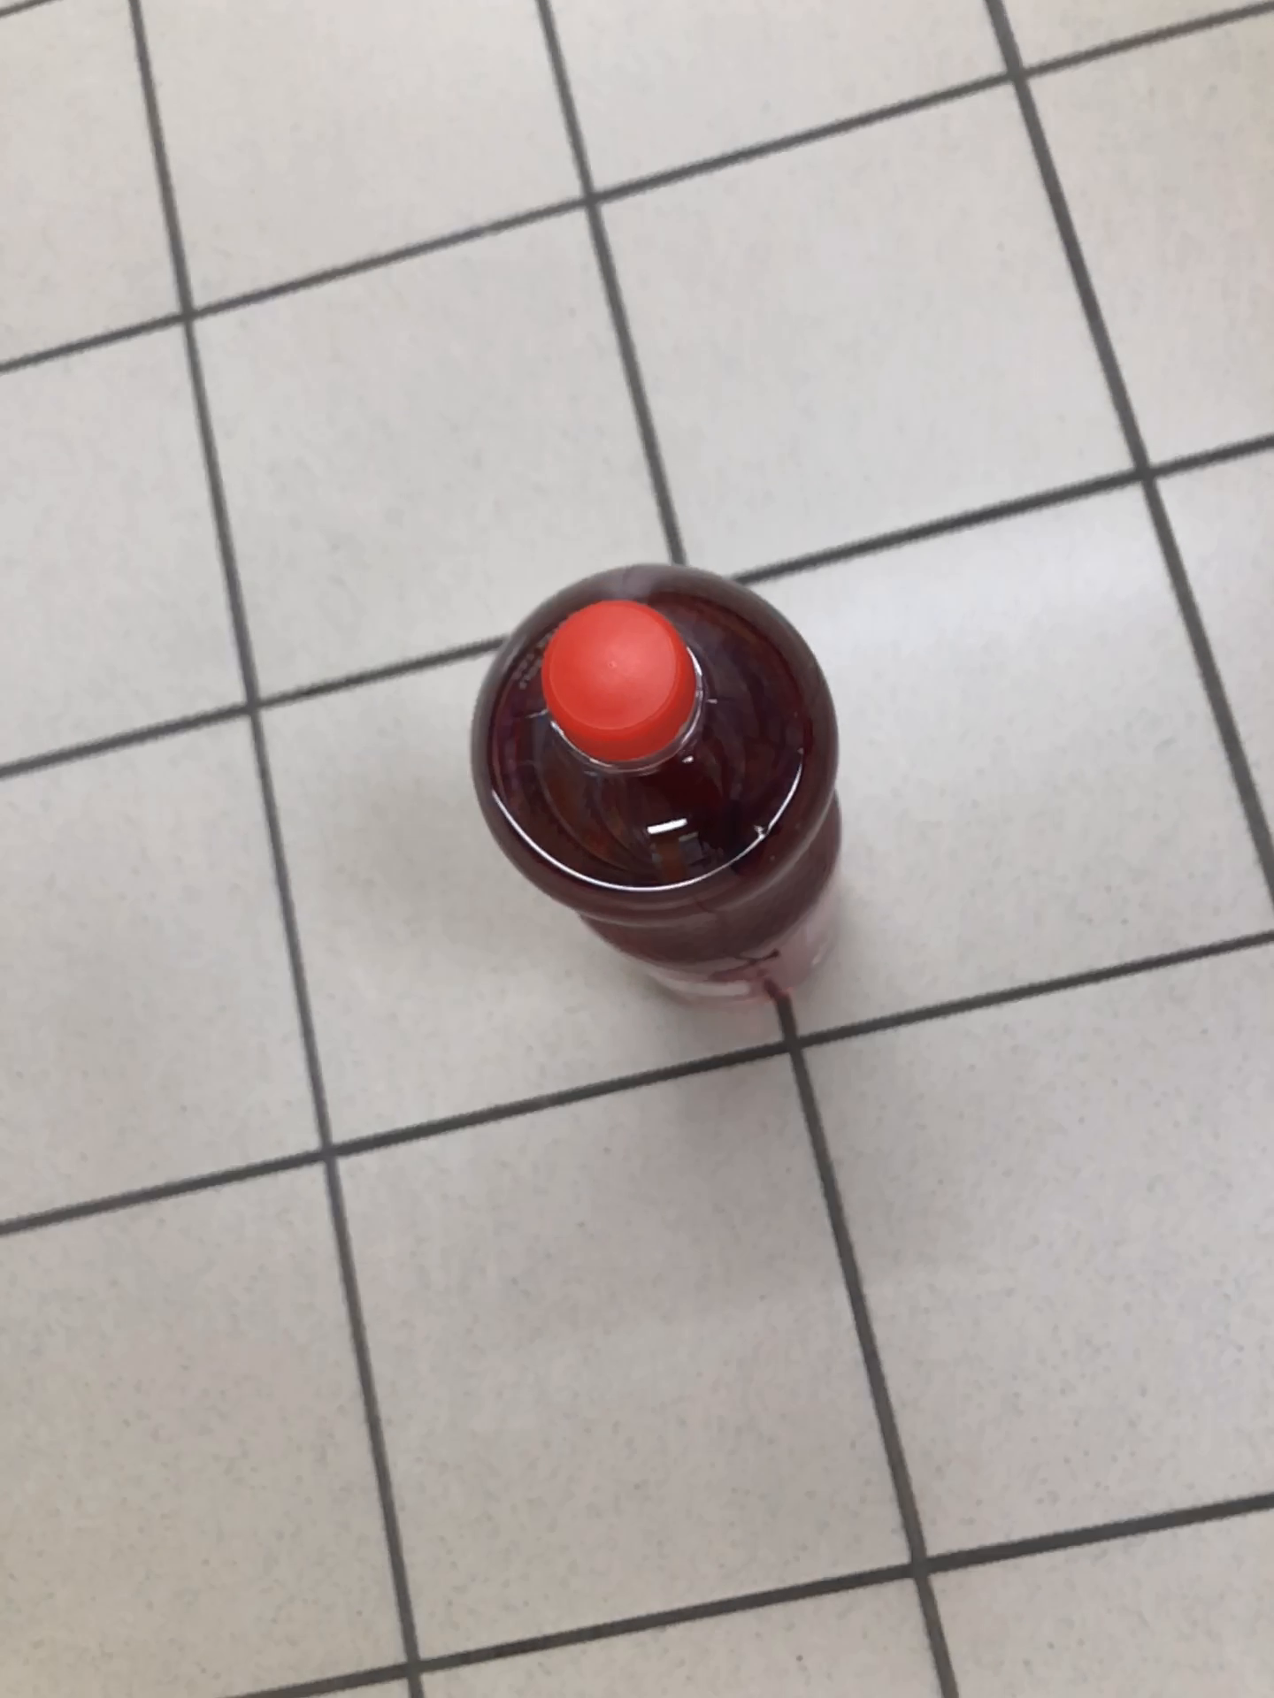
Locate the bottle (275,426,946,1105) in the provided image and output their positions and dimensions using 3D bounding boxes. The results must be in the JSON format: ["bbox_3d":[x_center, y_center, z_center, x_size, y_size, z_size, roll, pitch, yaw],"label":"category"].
[{"bbox_3d":[0.015,0.007,0.429,0.100,0.310,0.100,-2,79,8],"label":"bottle"}]
